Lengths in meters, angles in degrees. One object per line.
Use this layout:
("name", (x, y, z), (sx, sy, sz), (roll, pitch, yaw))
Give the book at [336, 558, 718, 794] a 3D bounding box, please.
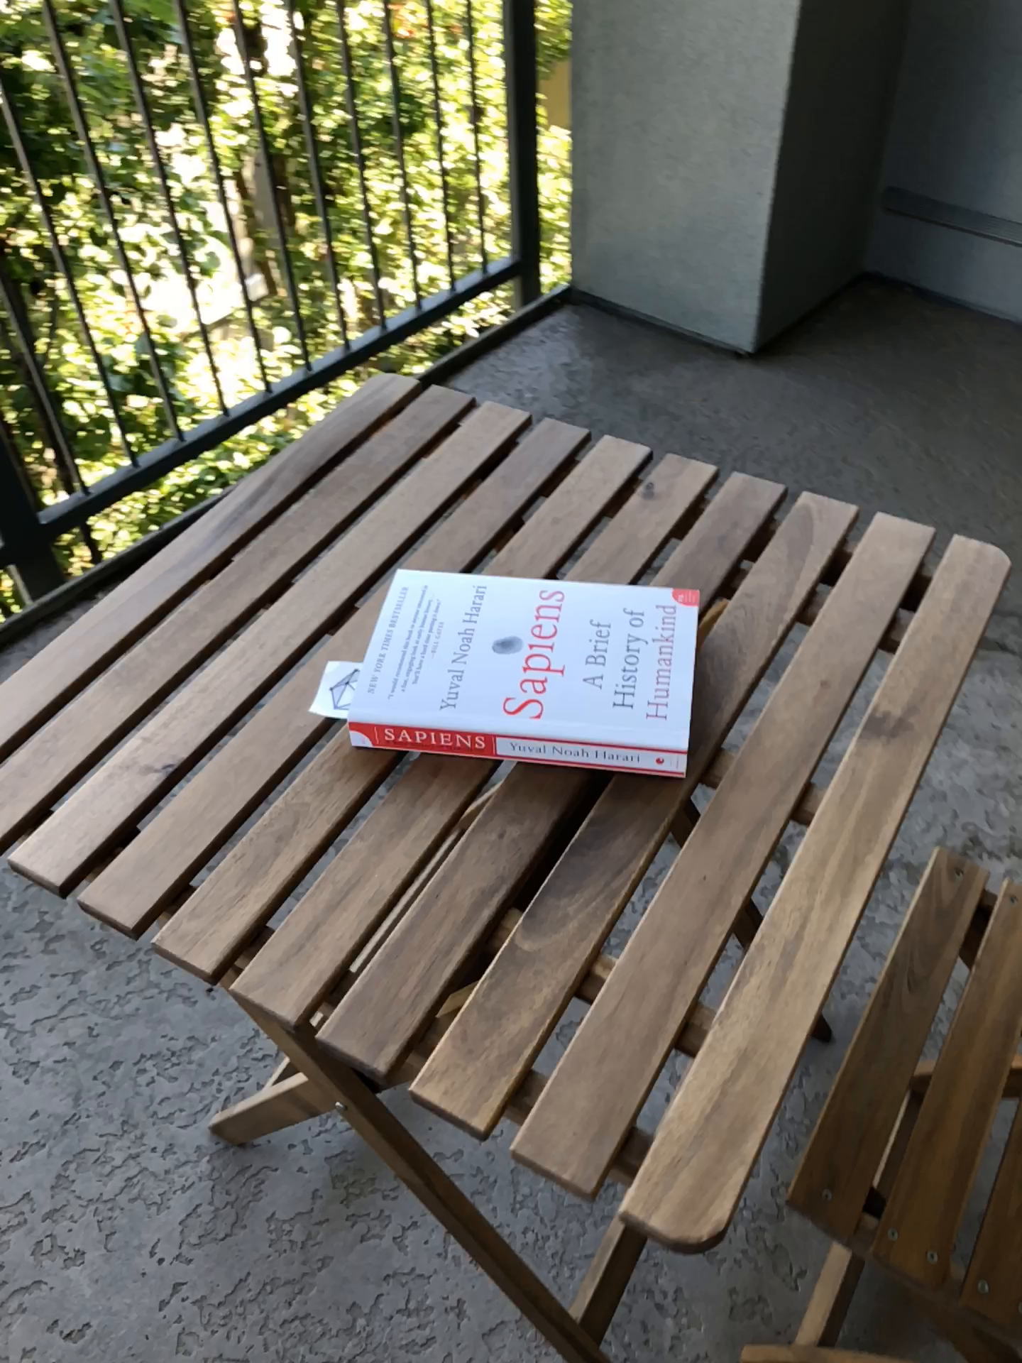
("book", (0.018, -0.010, 0.785), (0.240, 0.040, 0.161), (5, 47, 8))
